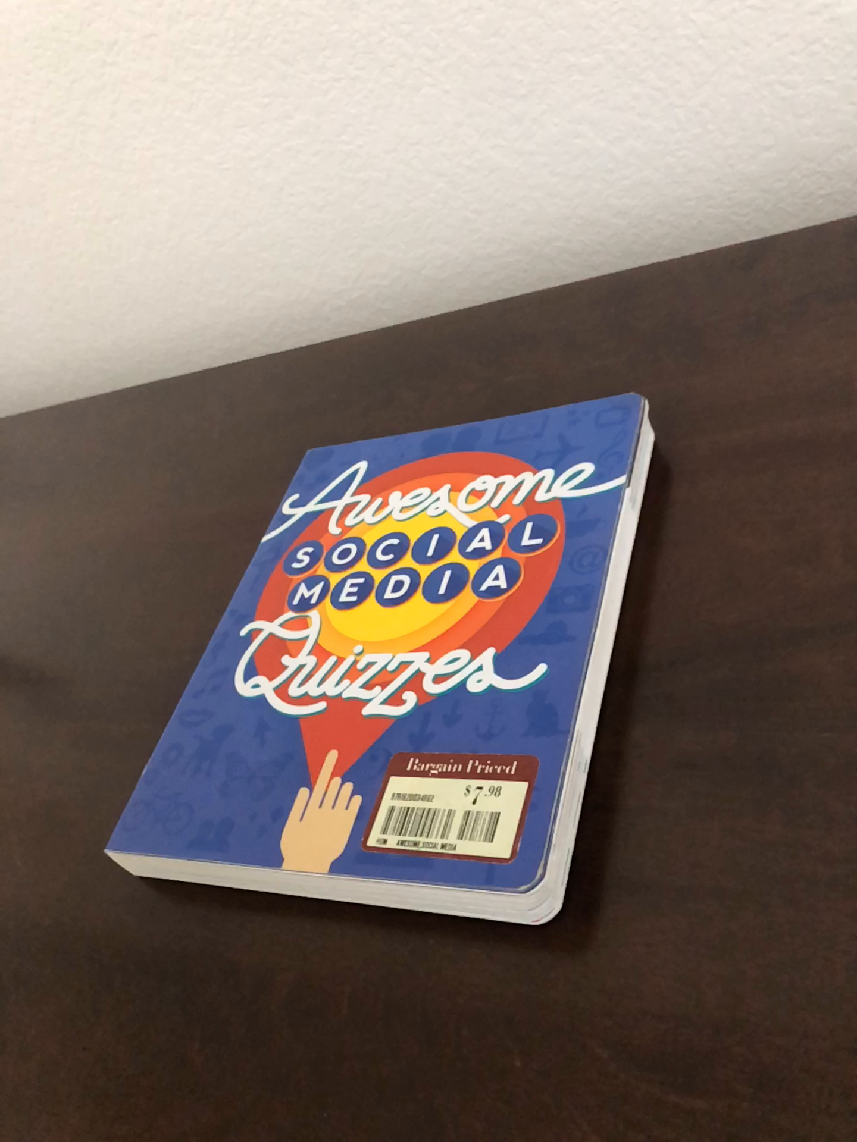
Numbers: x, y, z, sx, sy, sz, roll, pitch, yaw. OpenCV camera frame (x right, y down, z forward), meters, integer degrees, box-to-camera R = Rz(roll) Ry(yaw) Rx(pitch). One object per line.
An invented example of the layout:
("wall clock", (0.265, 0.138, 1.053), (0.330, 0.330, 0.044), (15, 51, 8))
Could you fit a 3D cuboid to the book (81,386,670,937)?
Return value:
("book", (-0.012, 0.020, 0.346), (0.172, 0.020, 0.201), (-5, 47, 30))
